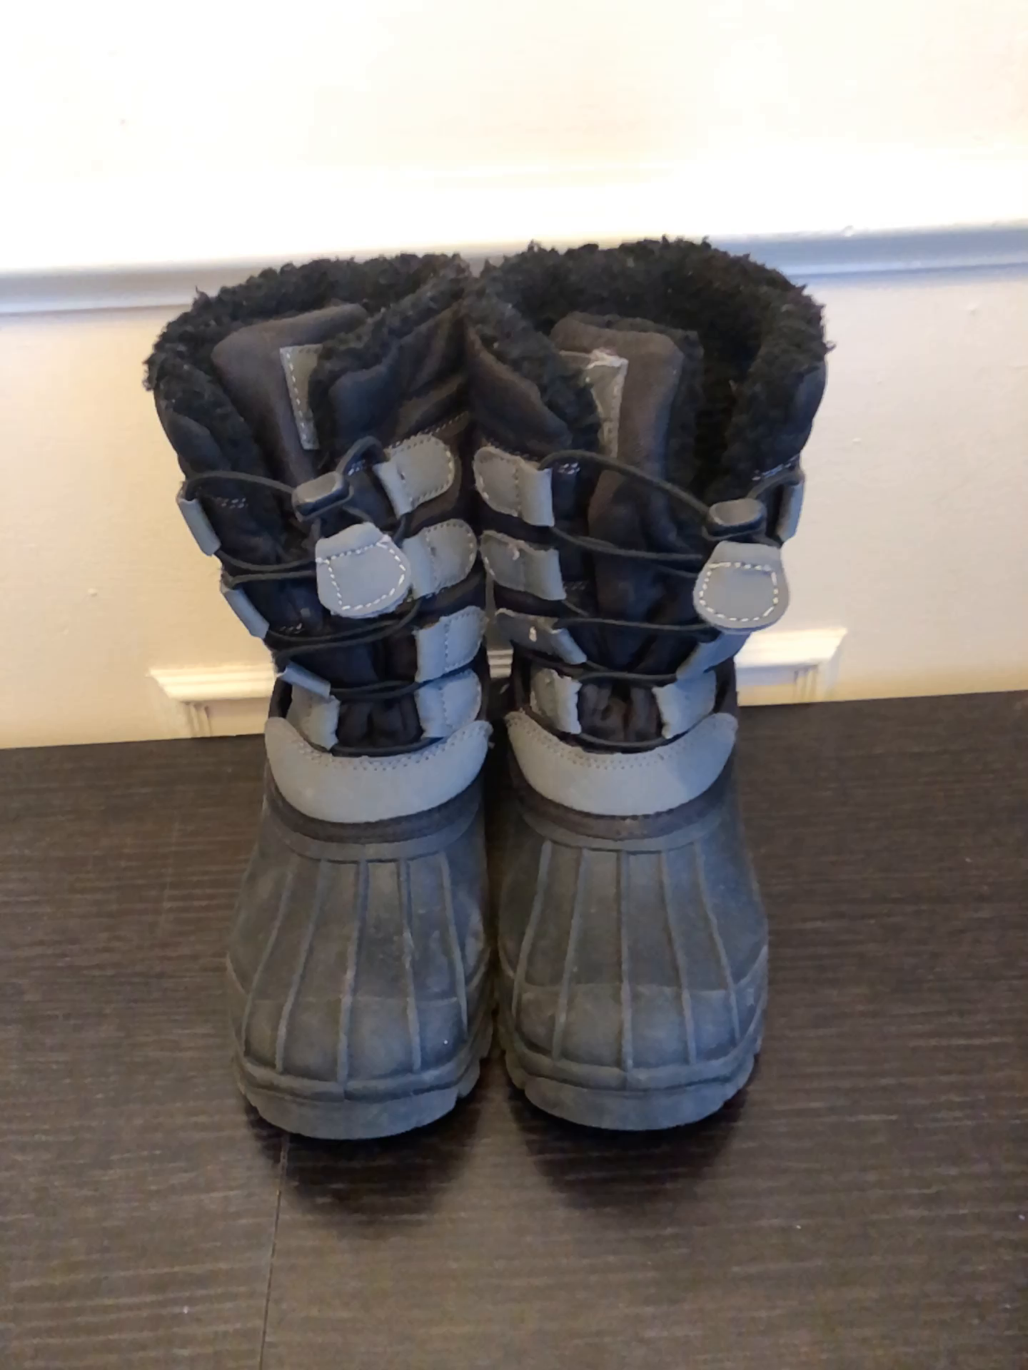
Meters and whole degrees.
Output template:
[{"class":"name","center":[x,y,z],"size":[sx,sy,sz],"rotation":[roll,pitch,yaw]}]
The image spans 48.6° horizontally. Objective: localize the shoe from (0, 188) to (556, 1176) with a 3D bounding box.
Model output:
[{"class":"shoe","center":[-0.043,-0.013,0.349],"size":[0.100,0.209,0.222],"rotation":[-2,36,0]}]

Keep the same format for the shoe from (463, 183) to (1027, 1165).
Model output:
[{"class":"shoe","center":[0.042,-0.016,0.350],"size":[0.100,0.209,0.222],"rotation":[-2,36,0]}]
